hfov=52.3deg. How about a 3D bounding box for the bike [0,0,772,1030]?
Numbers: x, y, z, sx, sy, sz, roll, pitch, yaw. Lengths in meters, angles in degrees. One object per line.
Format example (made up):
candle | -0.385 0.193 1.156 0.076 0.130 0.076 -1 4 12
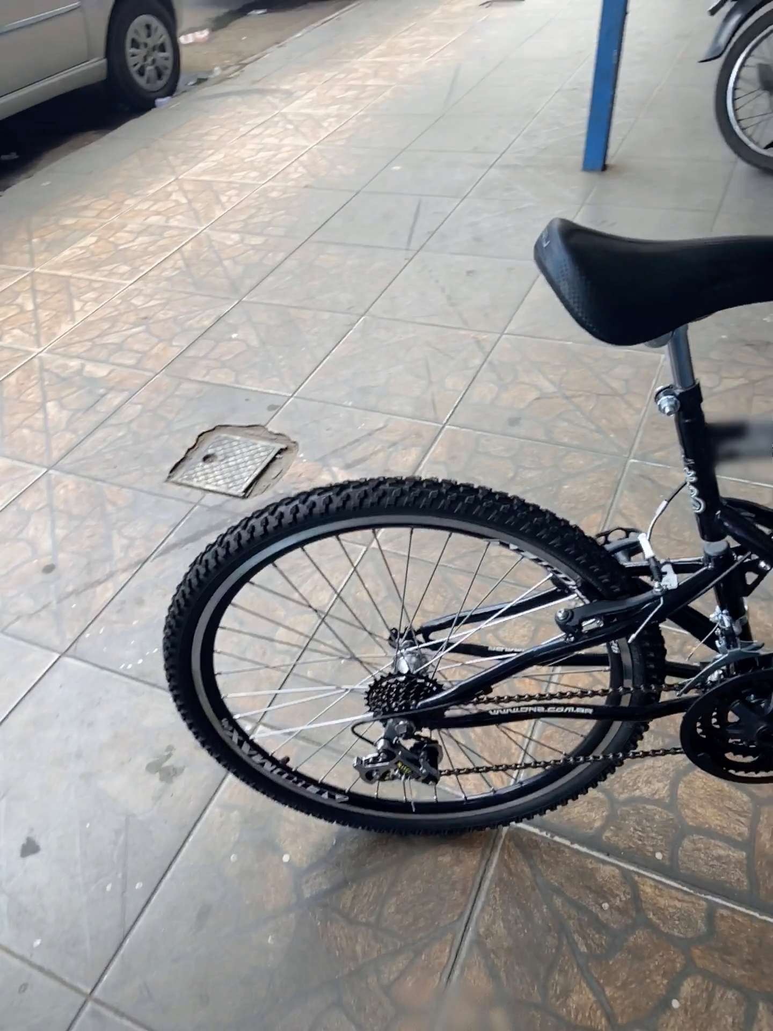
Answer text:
bike | 0.454 -0.071 0.882 1.584 1.154 0.606 -10 44 1
